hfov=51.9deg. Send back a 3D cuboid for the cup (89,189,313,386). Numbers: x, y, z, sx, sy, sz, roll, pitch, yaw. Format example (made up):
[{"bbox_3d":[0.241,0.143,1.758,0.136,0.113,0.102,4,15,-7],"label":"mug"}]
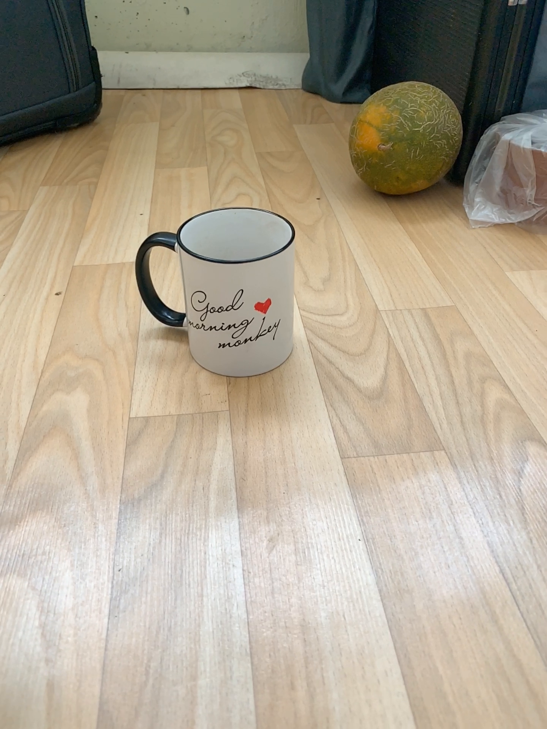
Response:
[{"bbox_3d":[-0.043,-0.055,0.398,0.130,0.100,0.080,6,40,6],"label":"cup"}]
